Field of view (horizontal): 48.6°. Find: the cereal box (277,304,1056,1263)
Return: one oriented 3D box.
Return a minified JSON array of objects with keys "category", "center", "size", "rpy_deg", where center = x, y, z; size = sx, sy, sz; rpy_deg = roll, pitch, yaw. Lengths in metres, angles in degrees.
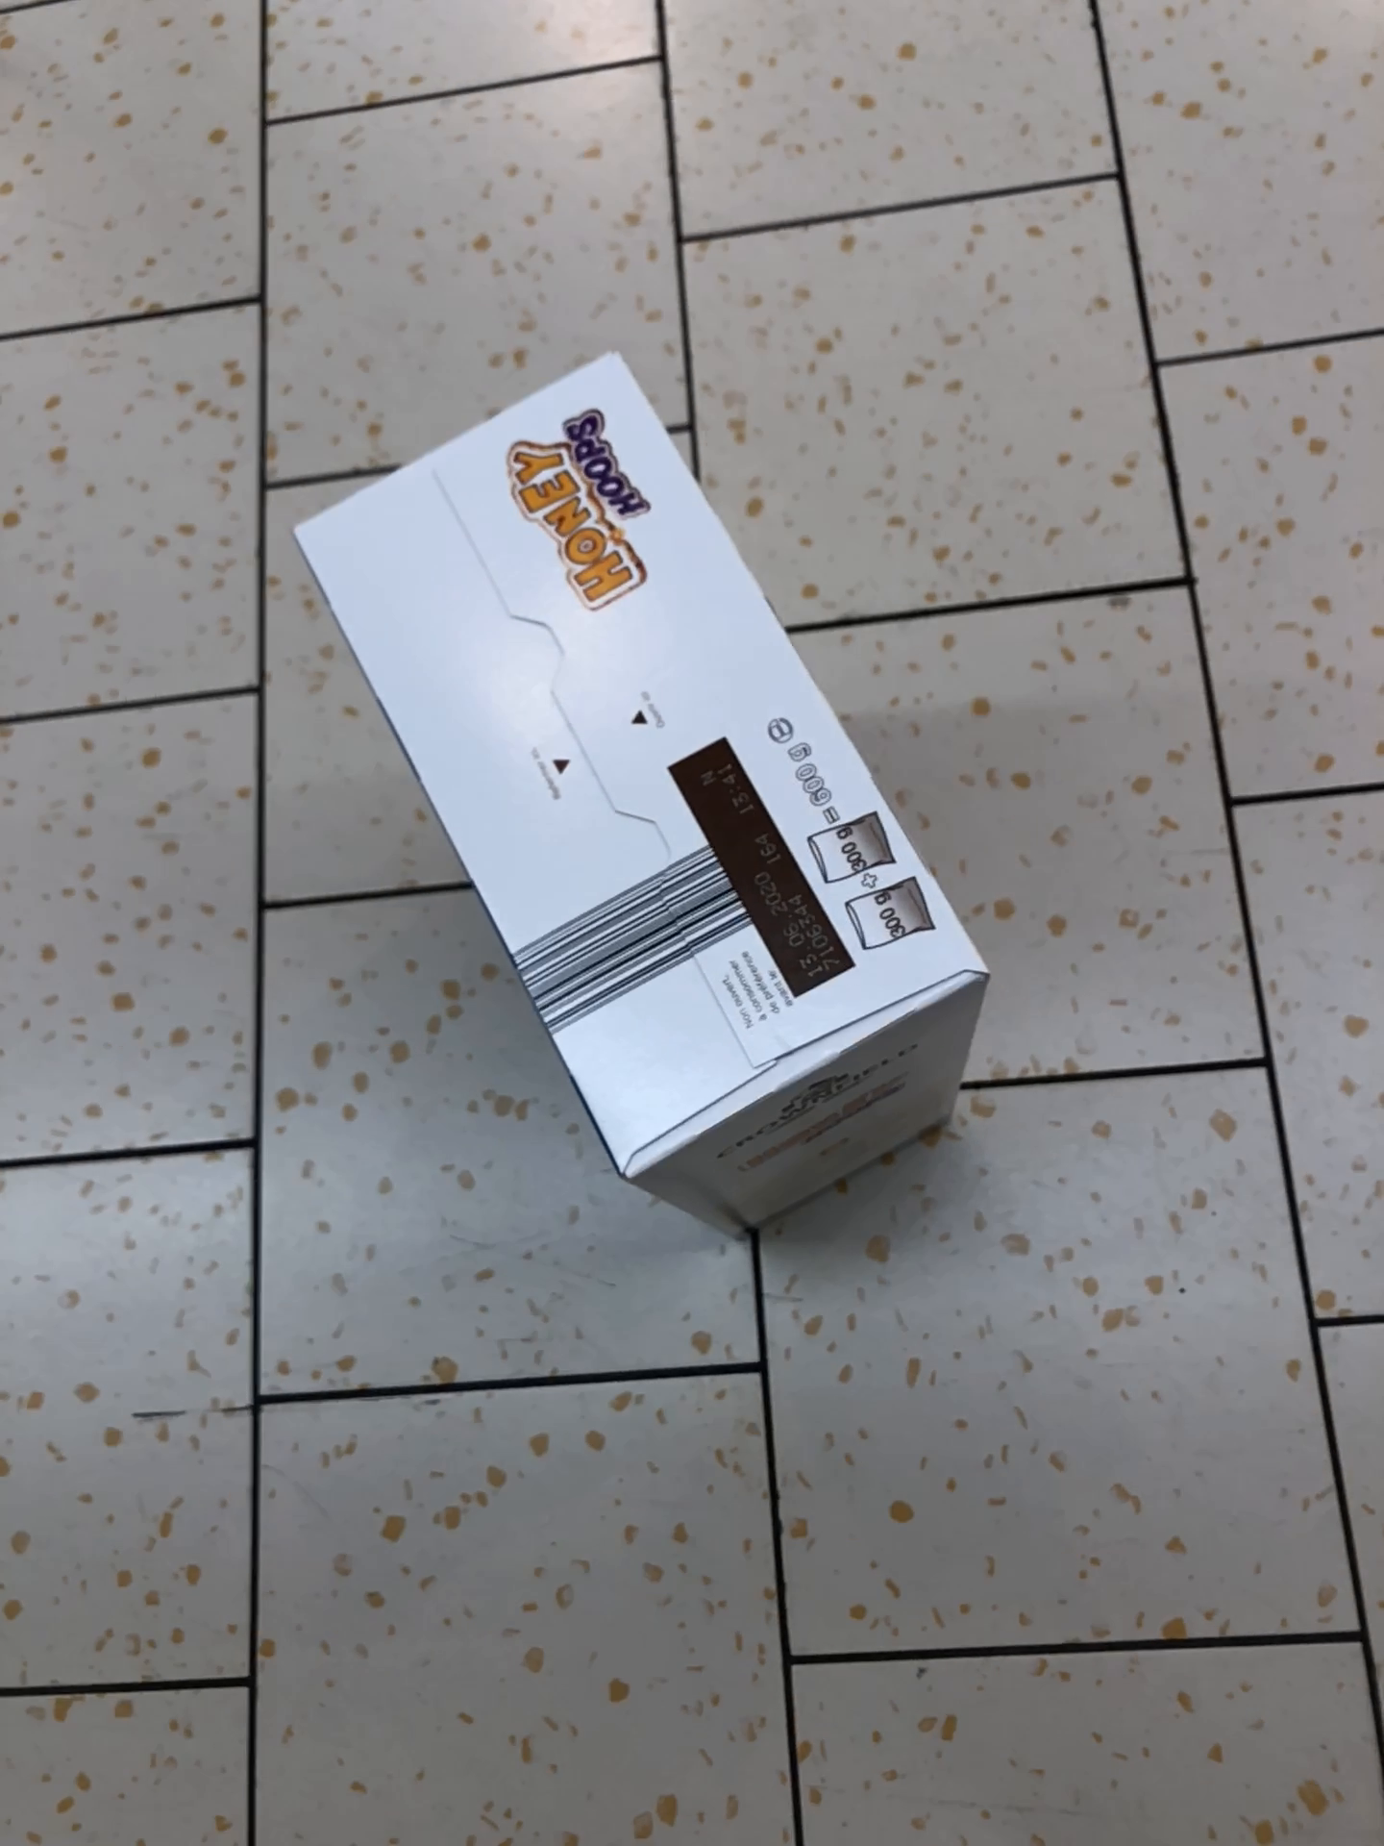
[{"category":"cereal box","center":[0.004,-0.017,0.494],"size":[0.110,0.250,0.210],"rpy_deg":[-28,73,0]}]
